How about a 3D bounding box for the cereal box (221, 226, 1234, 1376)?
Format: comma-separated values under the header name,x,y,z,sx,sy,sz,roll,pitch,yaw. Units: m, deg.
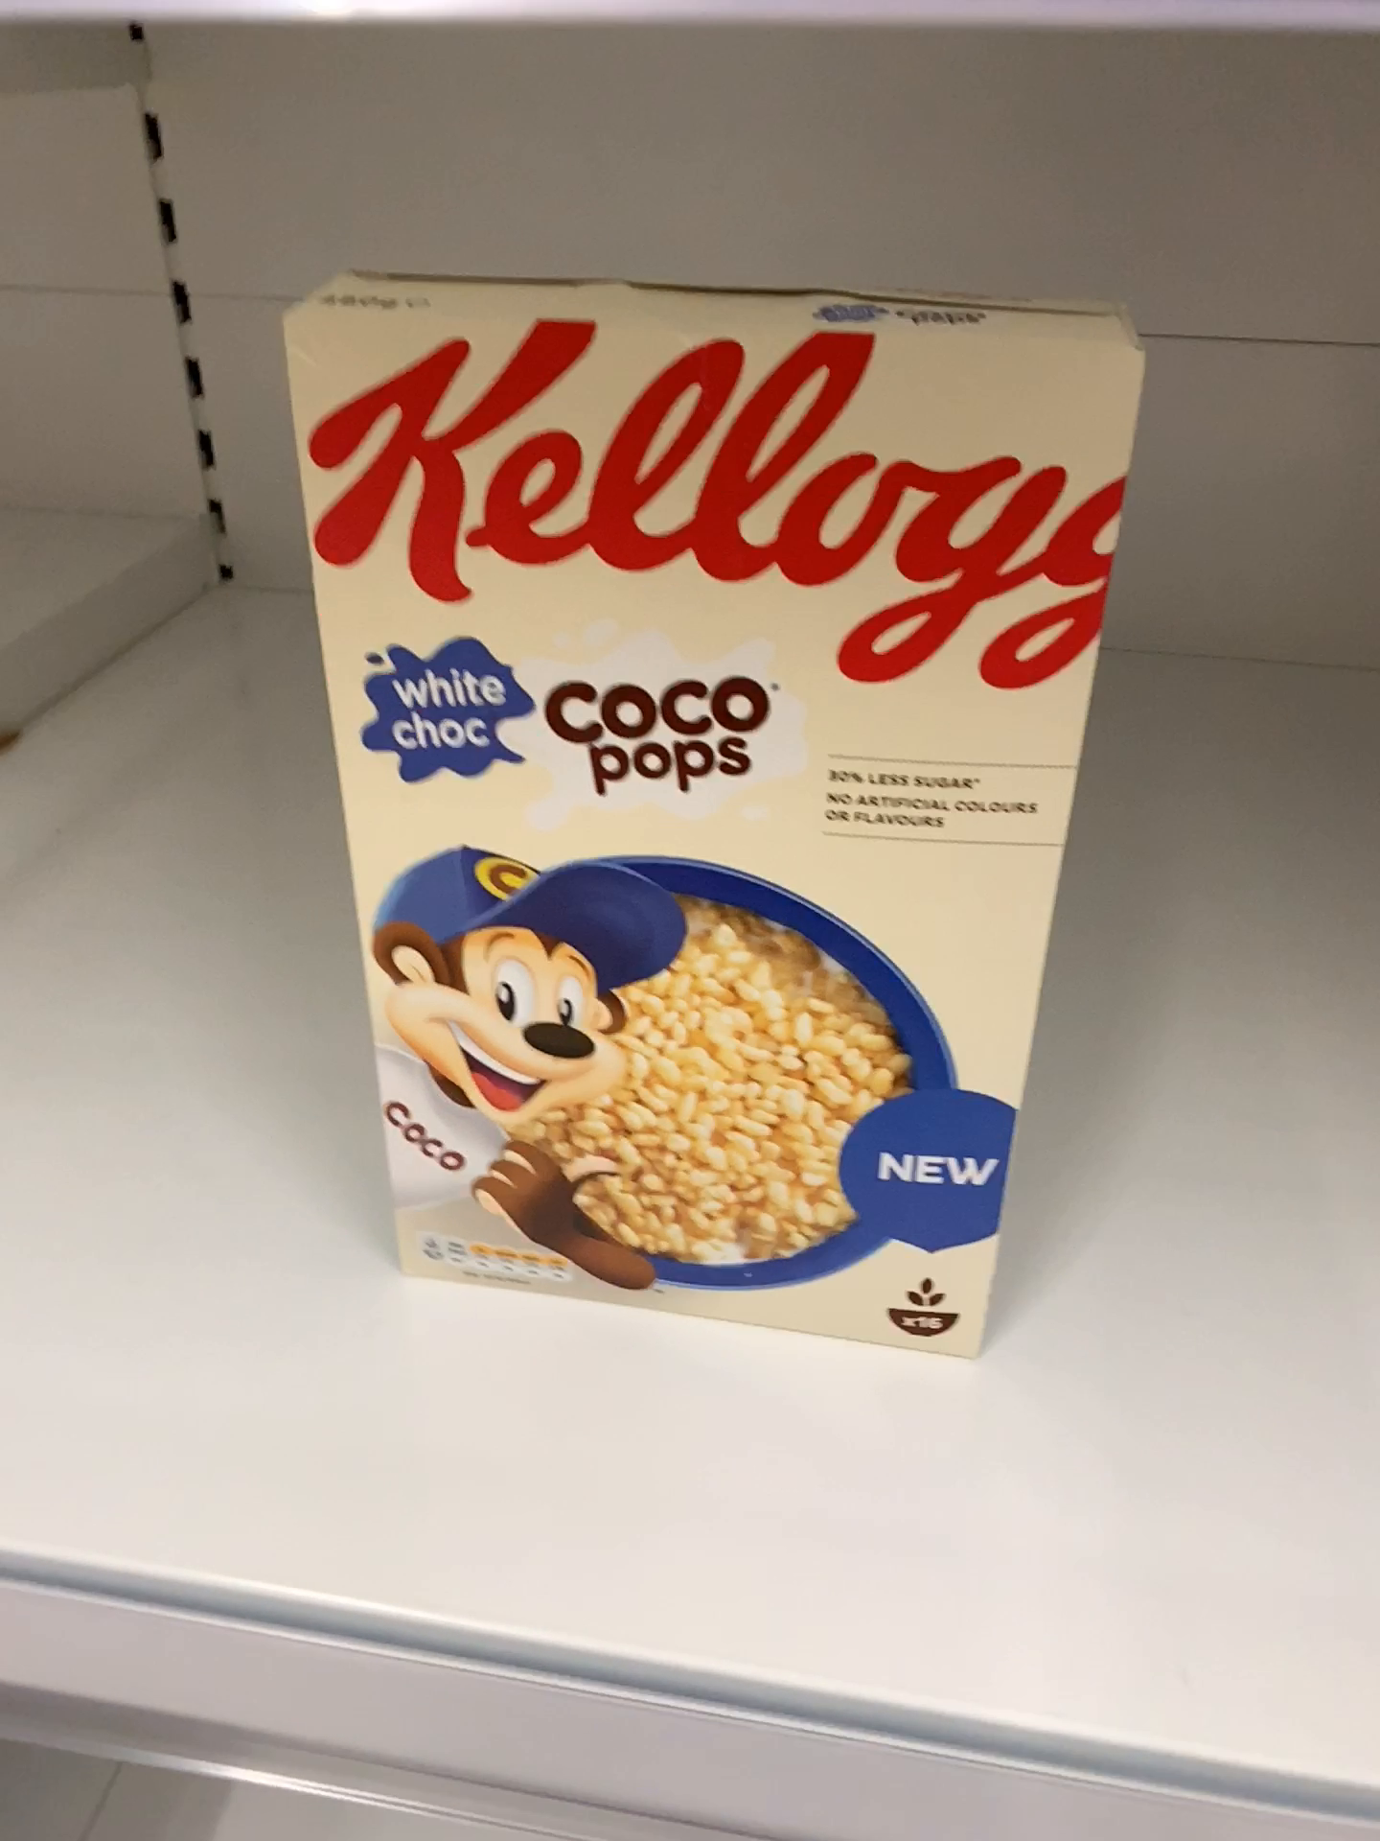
name,x,y,z,sx,sy,sz,roll,pitch,yaw
cereal box,0.006,-0.022,0.393,0.210,0.297,0.071,6,30,9
